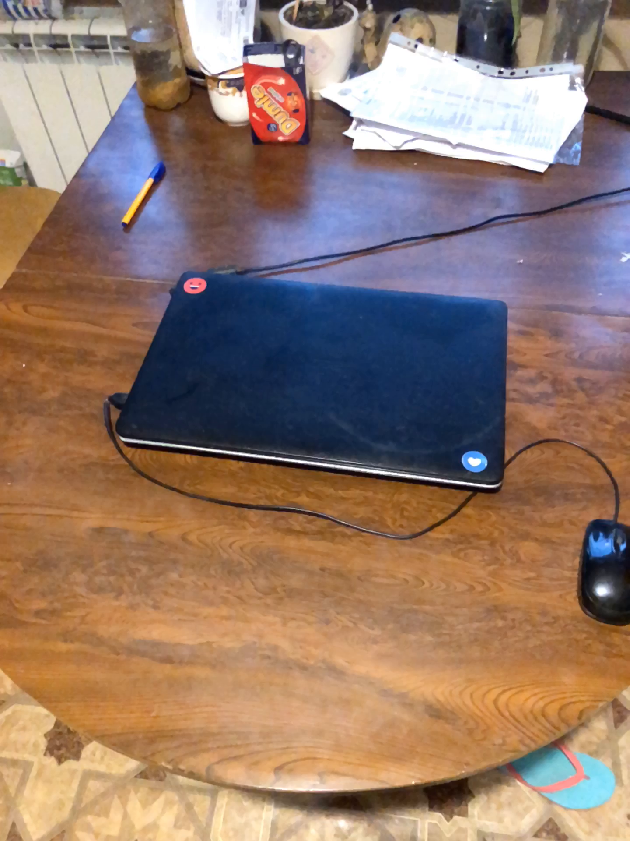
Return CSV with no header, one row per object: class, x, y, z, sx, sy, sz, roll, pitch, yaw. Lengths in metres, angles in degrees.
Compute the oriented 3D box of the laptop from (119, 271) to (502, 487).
laptop,0.009,-0.057,0.733,0.366,0.007,0.239,7,54,7
